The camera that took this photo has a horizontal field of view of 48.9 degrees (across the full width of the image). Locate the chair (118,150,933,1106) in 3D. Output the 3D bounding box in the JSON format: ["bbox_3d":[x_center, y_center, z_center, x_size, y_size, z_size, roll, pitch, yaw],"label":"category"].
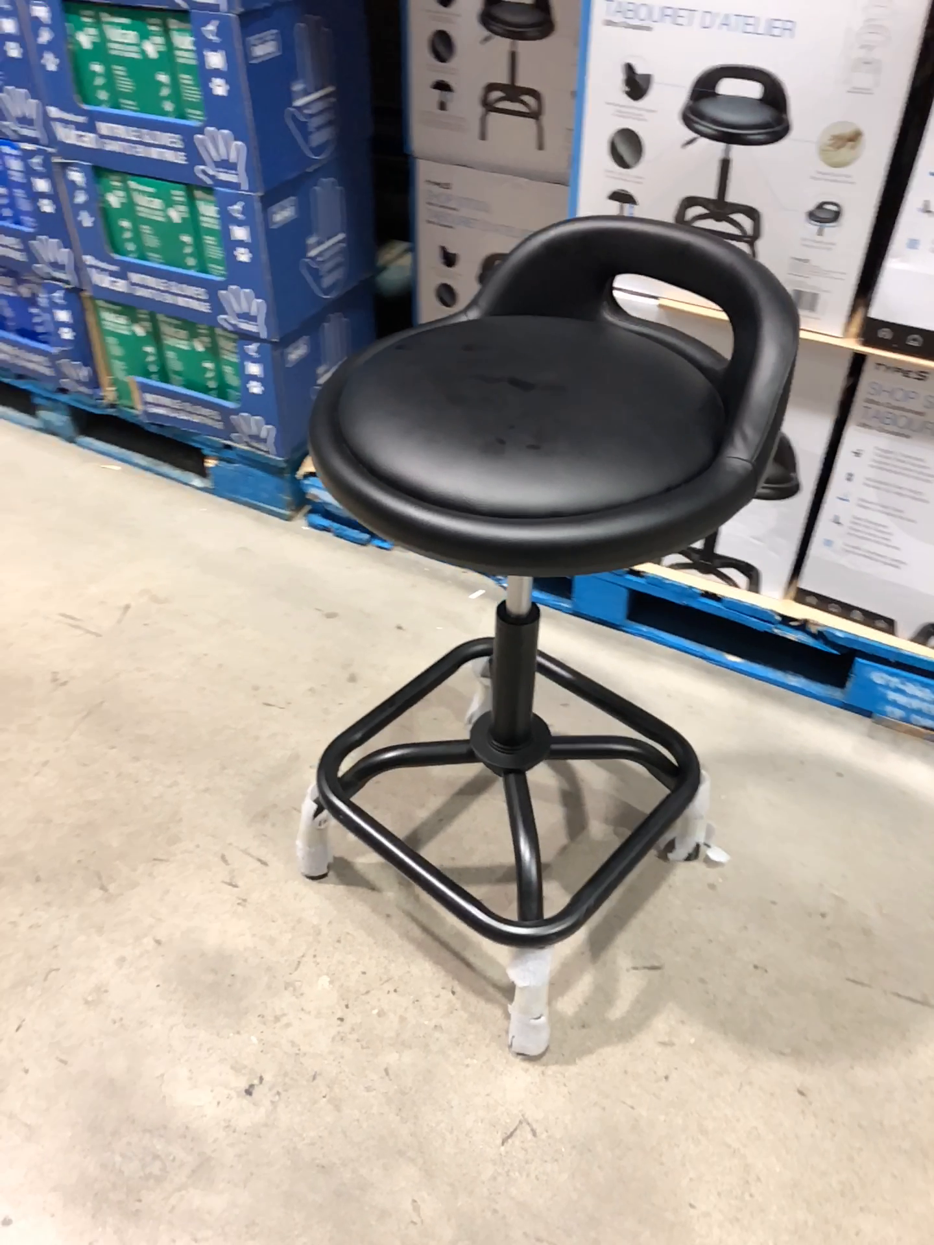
[{"bbox_3d":[0.060,-0.005,1.100,0.481,0.747,0.511,31,49,29],"label":"chair"}]
